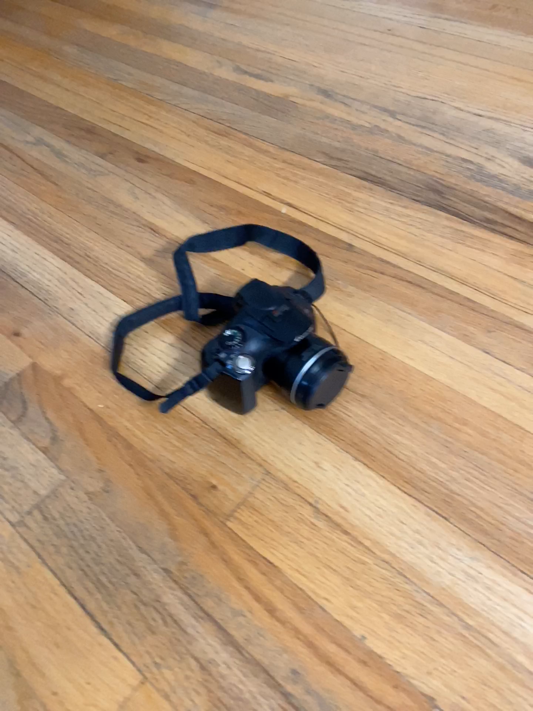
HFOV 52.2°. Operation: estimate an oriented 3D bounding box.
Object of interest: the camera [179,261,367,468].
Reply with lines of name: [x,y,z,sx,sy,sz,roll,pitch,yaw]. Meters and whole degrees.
camera: [0.009,0.007,0.513,0.120,0.109,0.110,35,62,28]
